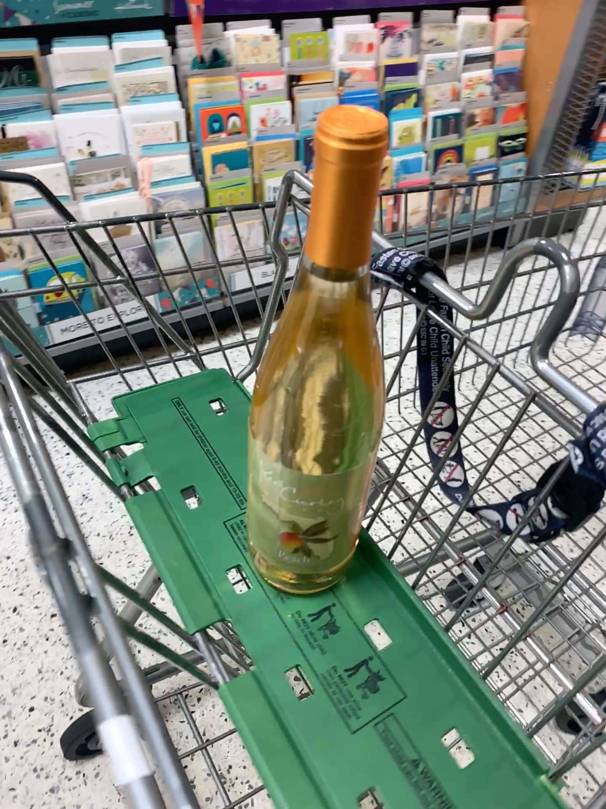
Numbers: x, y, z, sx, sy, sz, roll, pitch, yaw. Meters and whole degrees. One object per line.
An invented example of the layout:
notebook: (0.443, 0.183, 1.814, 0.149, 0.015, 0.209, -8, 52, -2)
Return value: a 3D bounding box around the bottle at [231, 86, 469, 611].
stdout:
bottle: (0.011, -0.002, 0.351, 0.083, 0.297, 0.087, 3, 45, -3)
